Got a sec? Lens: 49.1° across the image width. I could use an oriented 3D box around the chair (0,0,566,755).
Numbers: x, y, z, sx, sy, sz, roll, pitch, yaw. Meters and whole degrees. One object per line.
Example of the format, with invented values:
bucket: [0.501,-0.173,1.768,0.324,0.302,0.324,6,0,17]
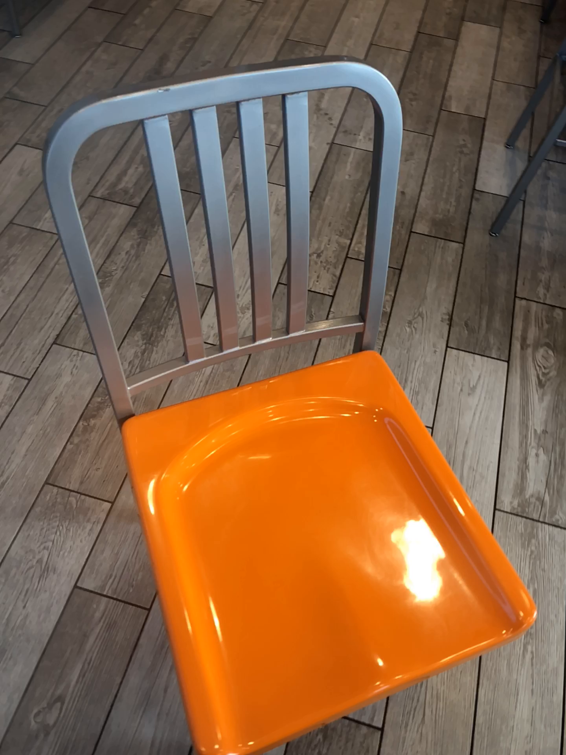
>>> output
chair: [0.037,0.136,0.737,0.470,0.818,0.511,-16,59,-13]
